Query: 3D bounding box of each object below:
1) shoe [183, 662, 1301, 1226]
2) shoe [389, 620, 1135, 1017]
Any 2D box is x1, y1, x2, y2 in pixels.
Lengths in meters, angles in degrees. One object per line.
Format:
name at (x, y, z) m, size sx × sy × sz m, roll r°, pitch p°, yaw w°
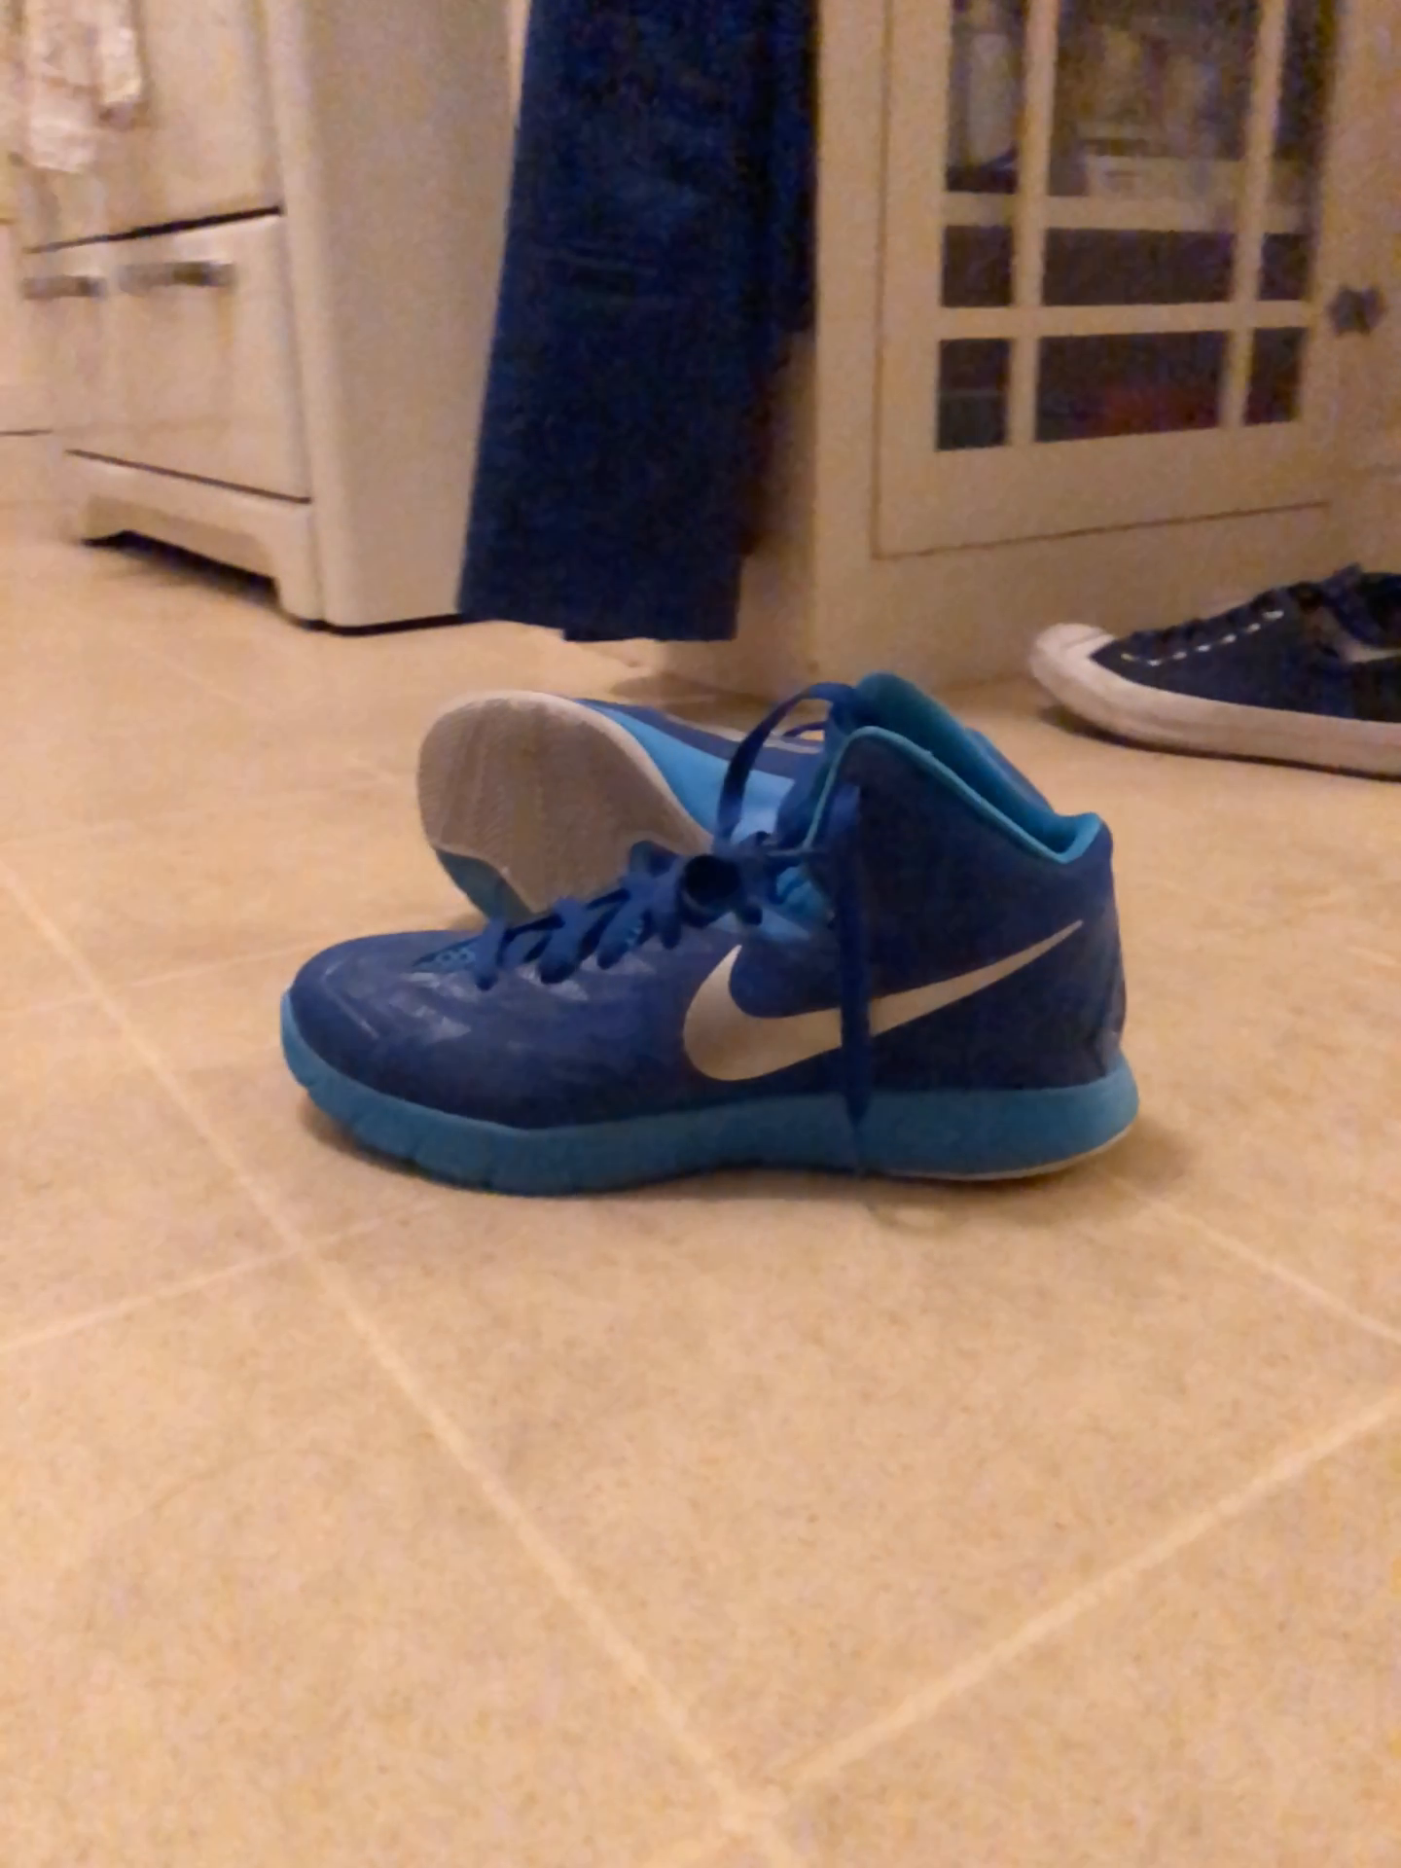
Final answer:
shoe at (0.013, -0.005, 0.509) m, size 0.310 × 0.144 × 0.121 m, roll 1°, pitch 21°, yaw 5°
shoe at (0.033, -0.063, 0.667) m, size 0.281 × 0.120 × 0.160 m, roll 6°, pitch 17°, yaw 17°
